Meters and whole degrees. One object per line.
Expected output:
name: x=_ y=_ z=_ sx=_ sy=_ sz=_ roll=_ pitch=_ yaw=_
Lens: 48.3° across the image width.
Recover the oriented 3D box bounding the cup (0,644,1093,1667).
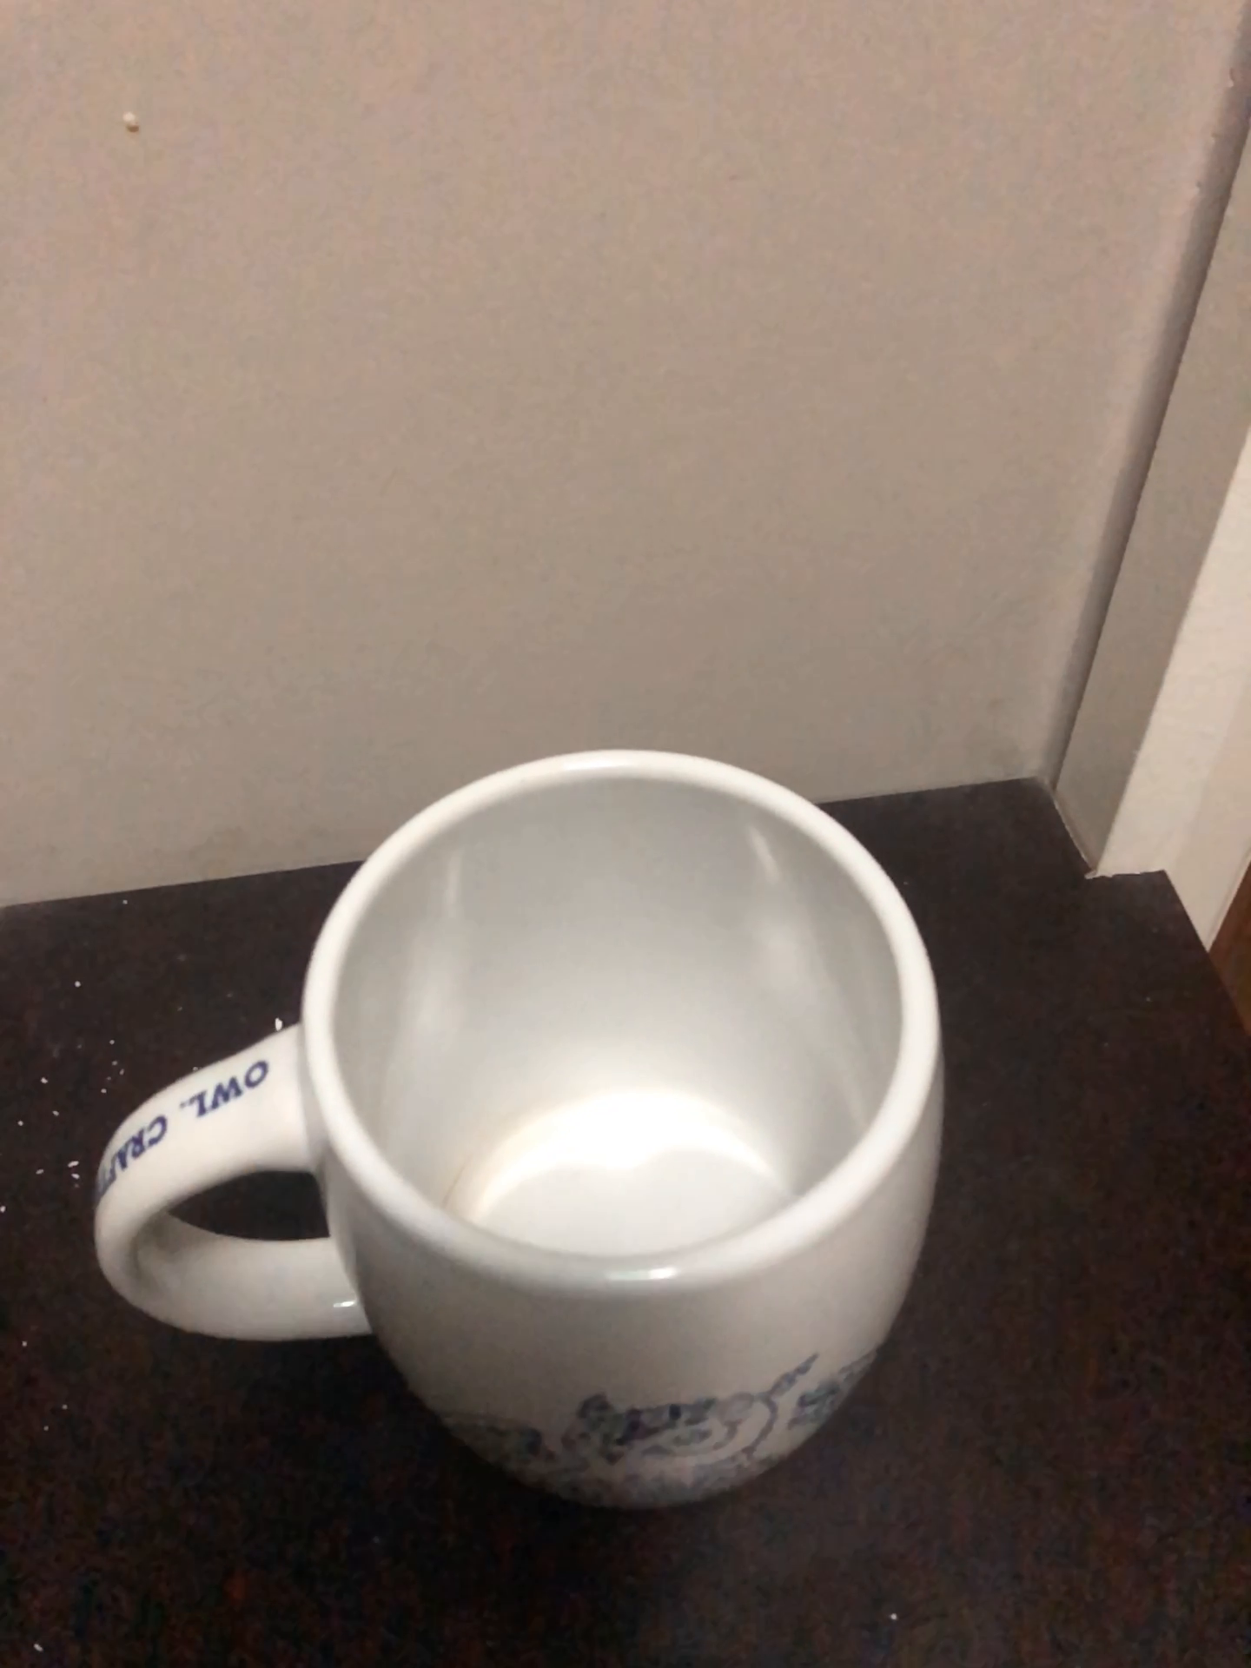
cup: x=-0.023 y=0.042 z=0.197 sx=0.130 sy=0.079 sz=0.101 roll=-6 pitch=47 yaw=-4
